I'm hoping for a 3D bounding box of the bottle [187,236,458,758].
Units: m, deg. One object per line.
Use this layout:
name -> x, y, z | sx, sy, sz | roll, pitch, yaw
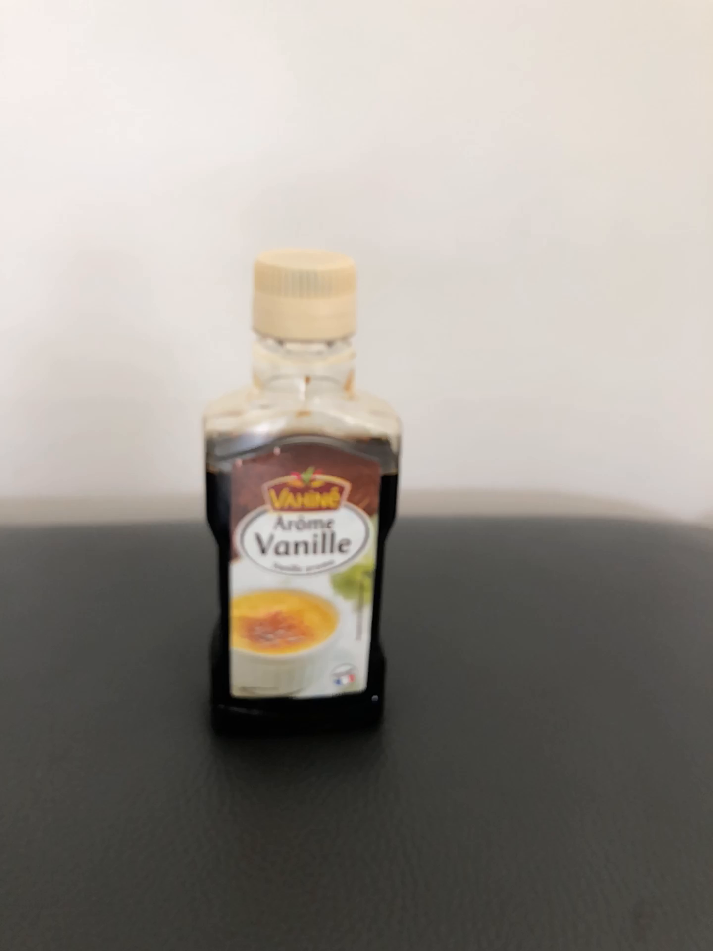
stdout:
bottle -> -0.017, 0.011, 0.257 | 0.070, 0.159, 0.040 | 0, 24, -11
